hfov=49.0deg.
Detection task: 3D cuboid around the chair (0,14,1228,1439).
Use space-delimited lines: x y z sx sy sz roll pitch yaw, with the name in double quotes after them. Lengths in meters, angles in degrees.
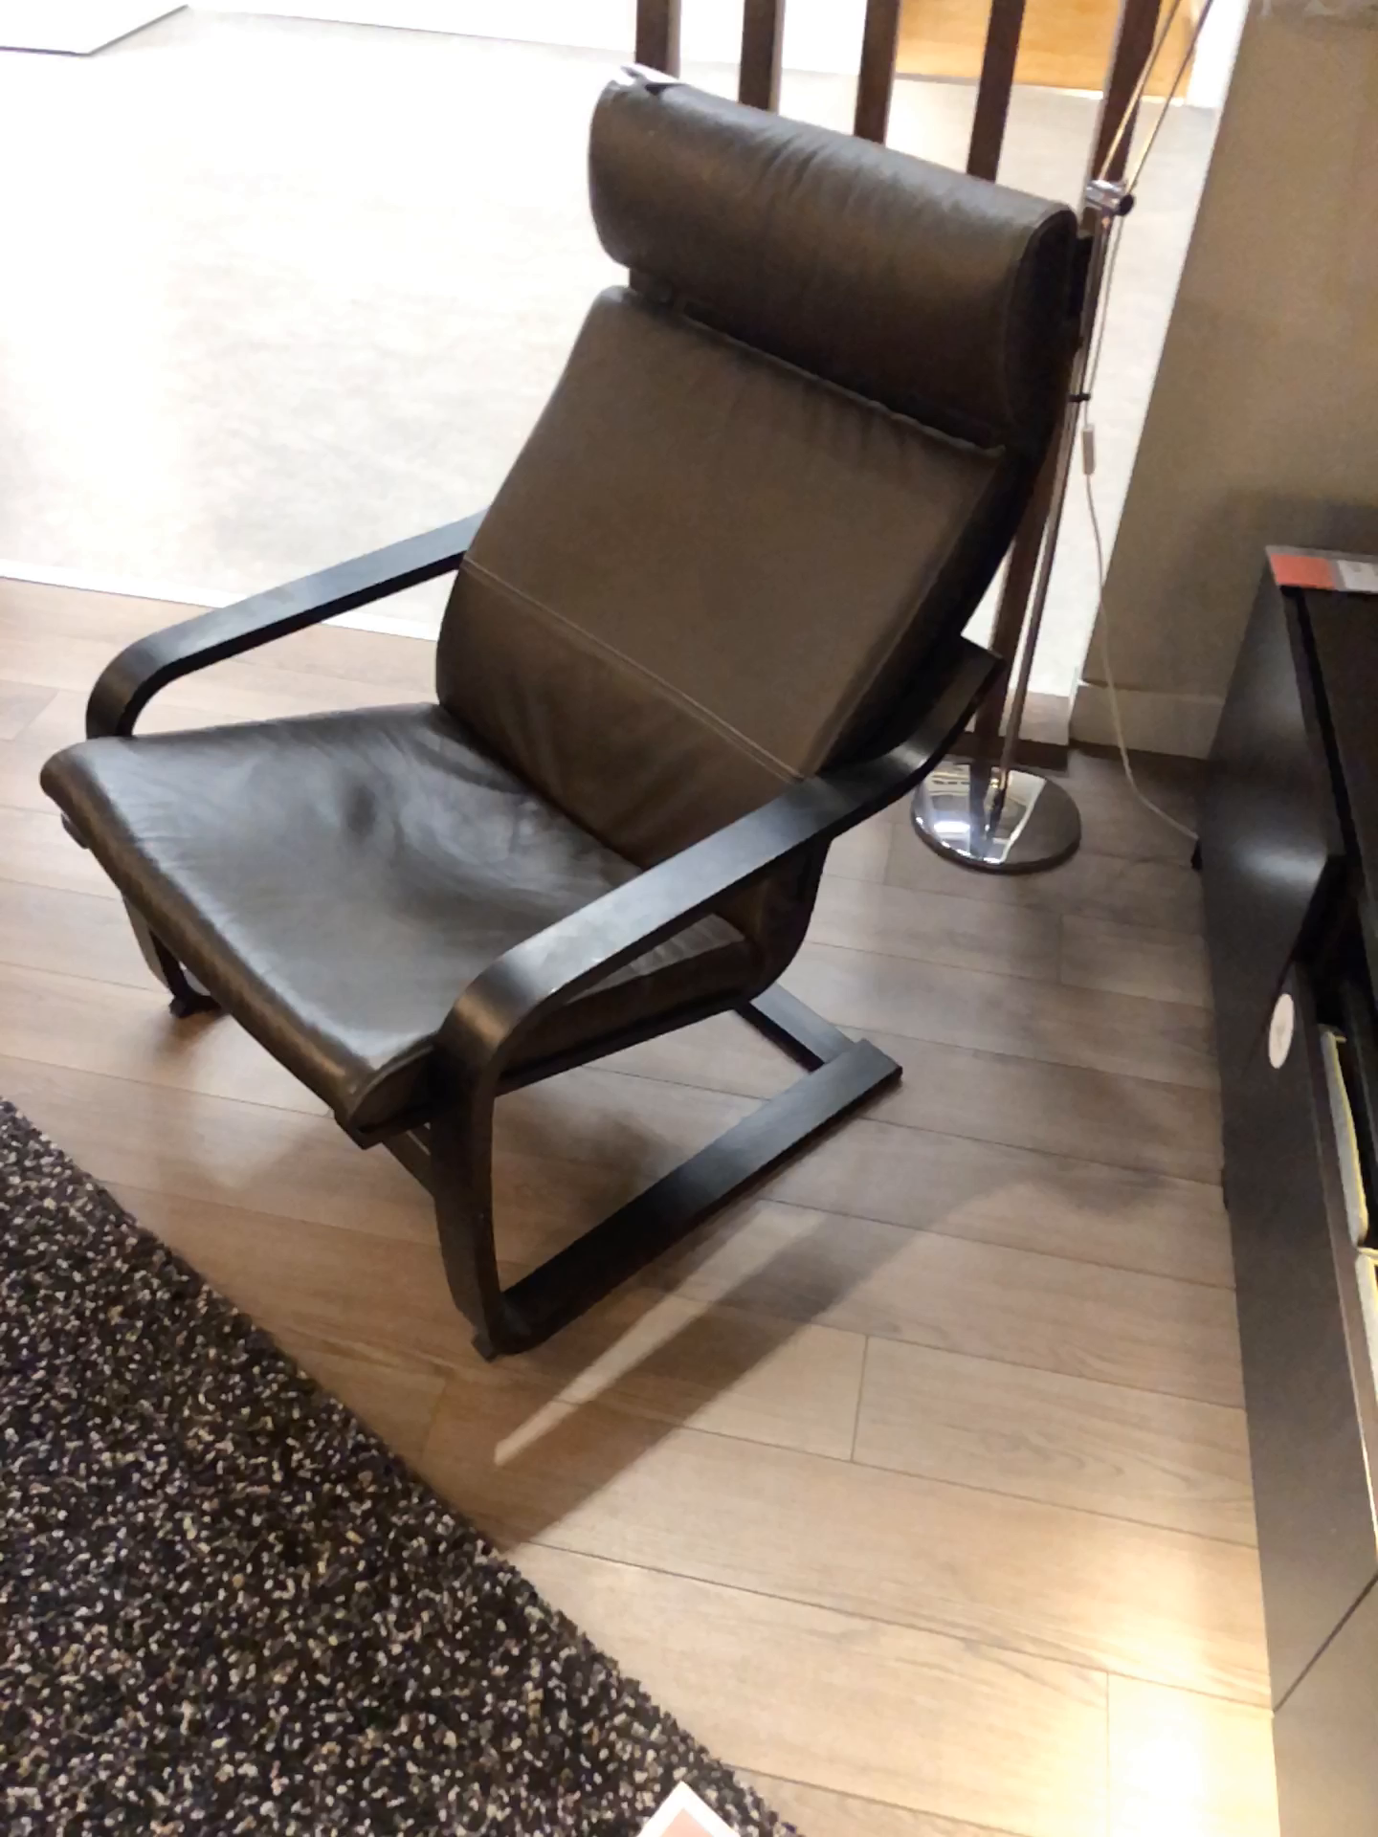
-0.152 -0.233 1.420 0.731 0.876 0.782 -31 51 -32 "chair"
